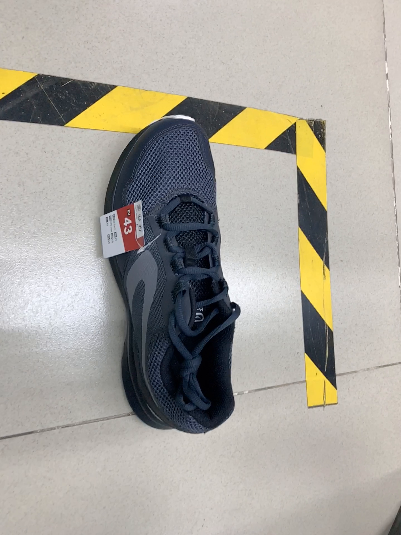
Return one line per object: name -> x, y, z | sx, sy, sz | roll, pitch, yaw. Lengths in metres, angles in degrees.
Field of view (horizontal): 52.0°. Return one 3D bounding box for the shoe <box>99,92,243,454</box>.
shoe -> -0.028, 0.004, 0.374 | 0.110, 0.070, 0.280 | 1, 87, -26
